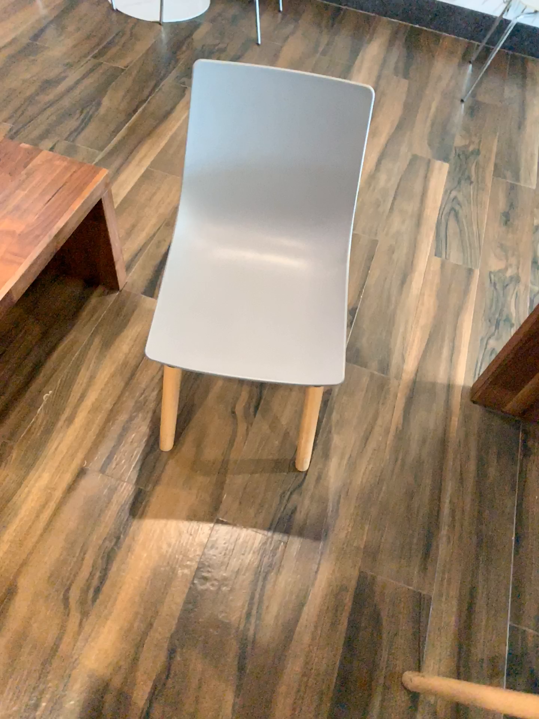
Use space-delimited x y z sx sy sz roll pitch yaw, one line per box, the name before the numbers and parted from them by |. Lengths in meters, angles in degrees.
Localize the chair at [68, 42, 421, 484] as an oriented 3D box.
chair | -0.032 -0.162 1.216 0.500 0.695 0.564 10 55 -1
